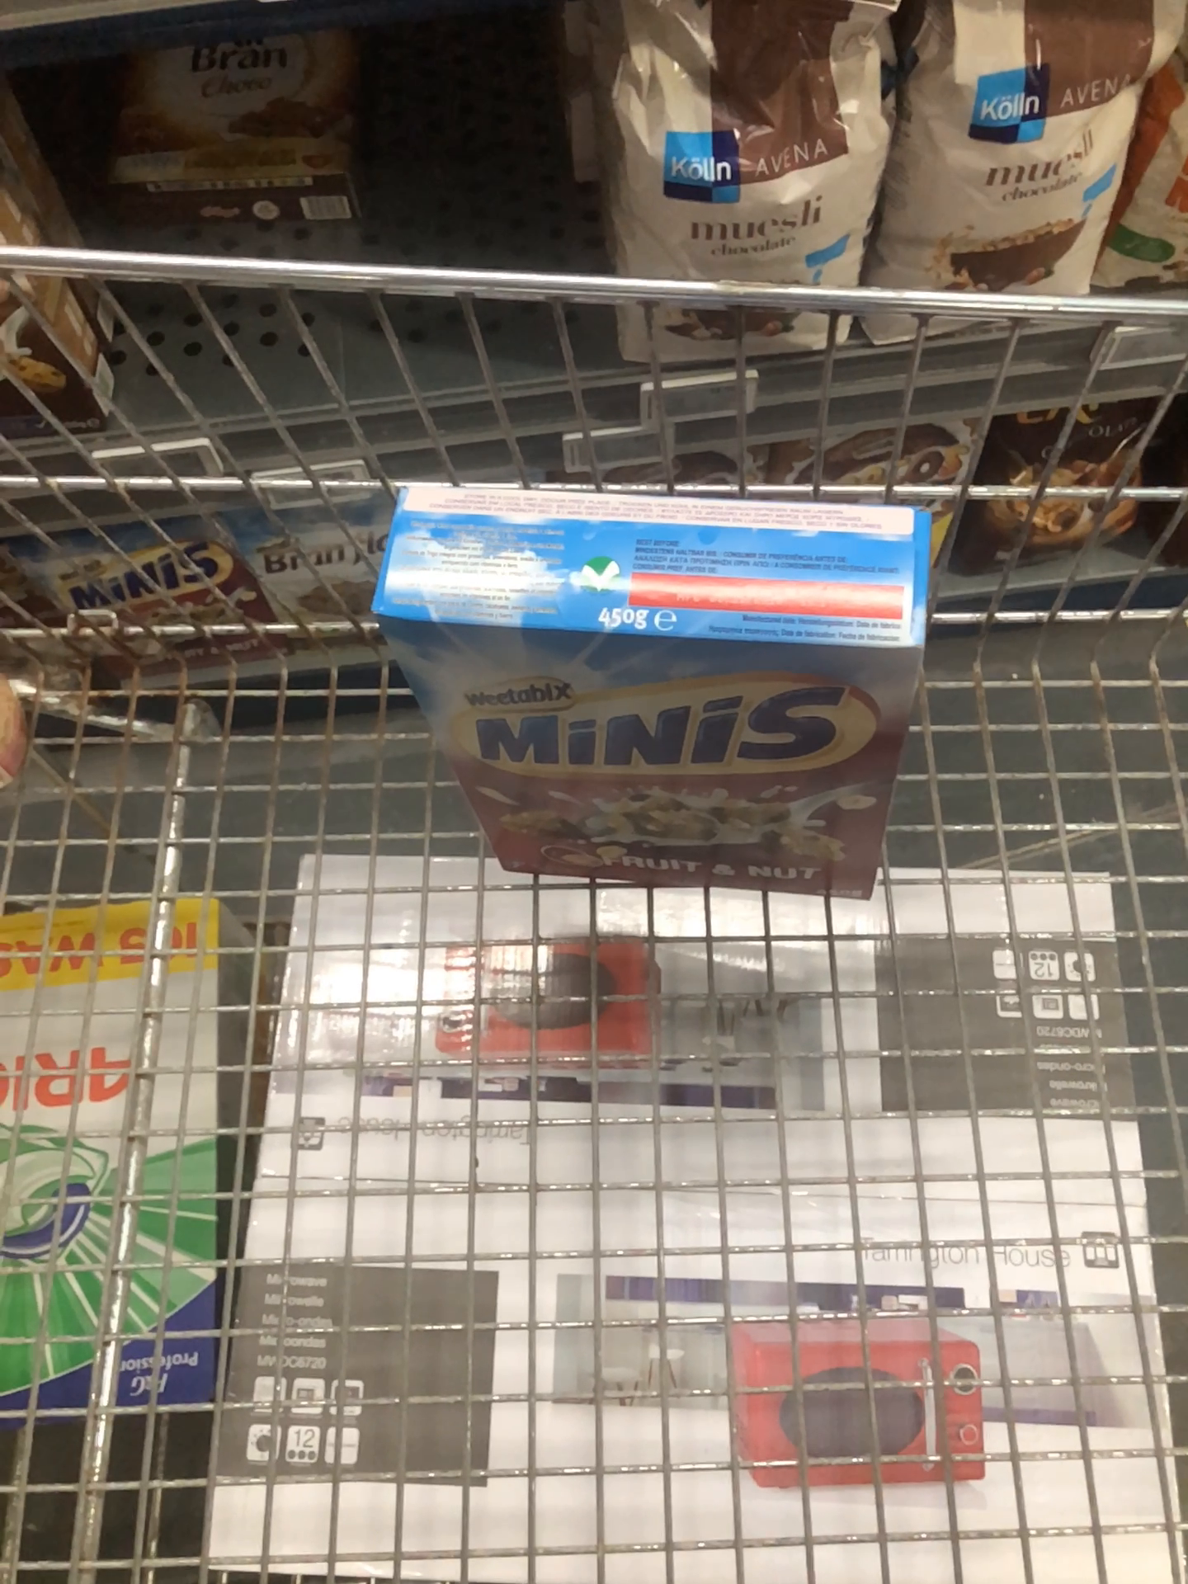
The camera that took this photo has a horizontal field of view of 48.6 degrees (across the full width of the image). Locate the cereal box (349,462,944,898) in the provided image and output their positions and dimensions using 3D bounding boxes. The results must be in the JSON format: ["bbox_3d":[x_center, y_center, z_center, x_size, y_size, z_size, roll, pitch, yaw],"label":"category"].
[{"bbox_3d":[0.034,-0.038,0.618,0.220,0.260,0.080,3,67,8],"label":"cereal box"}]
